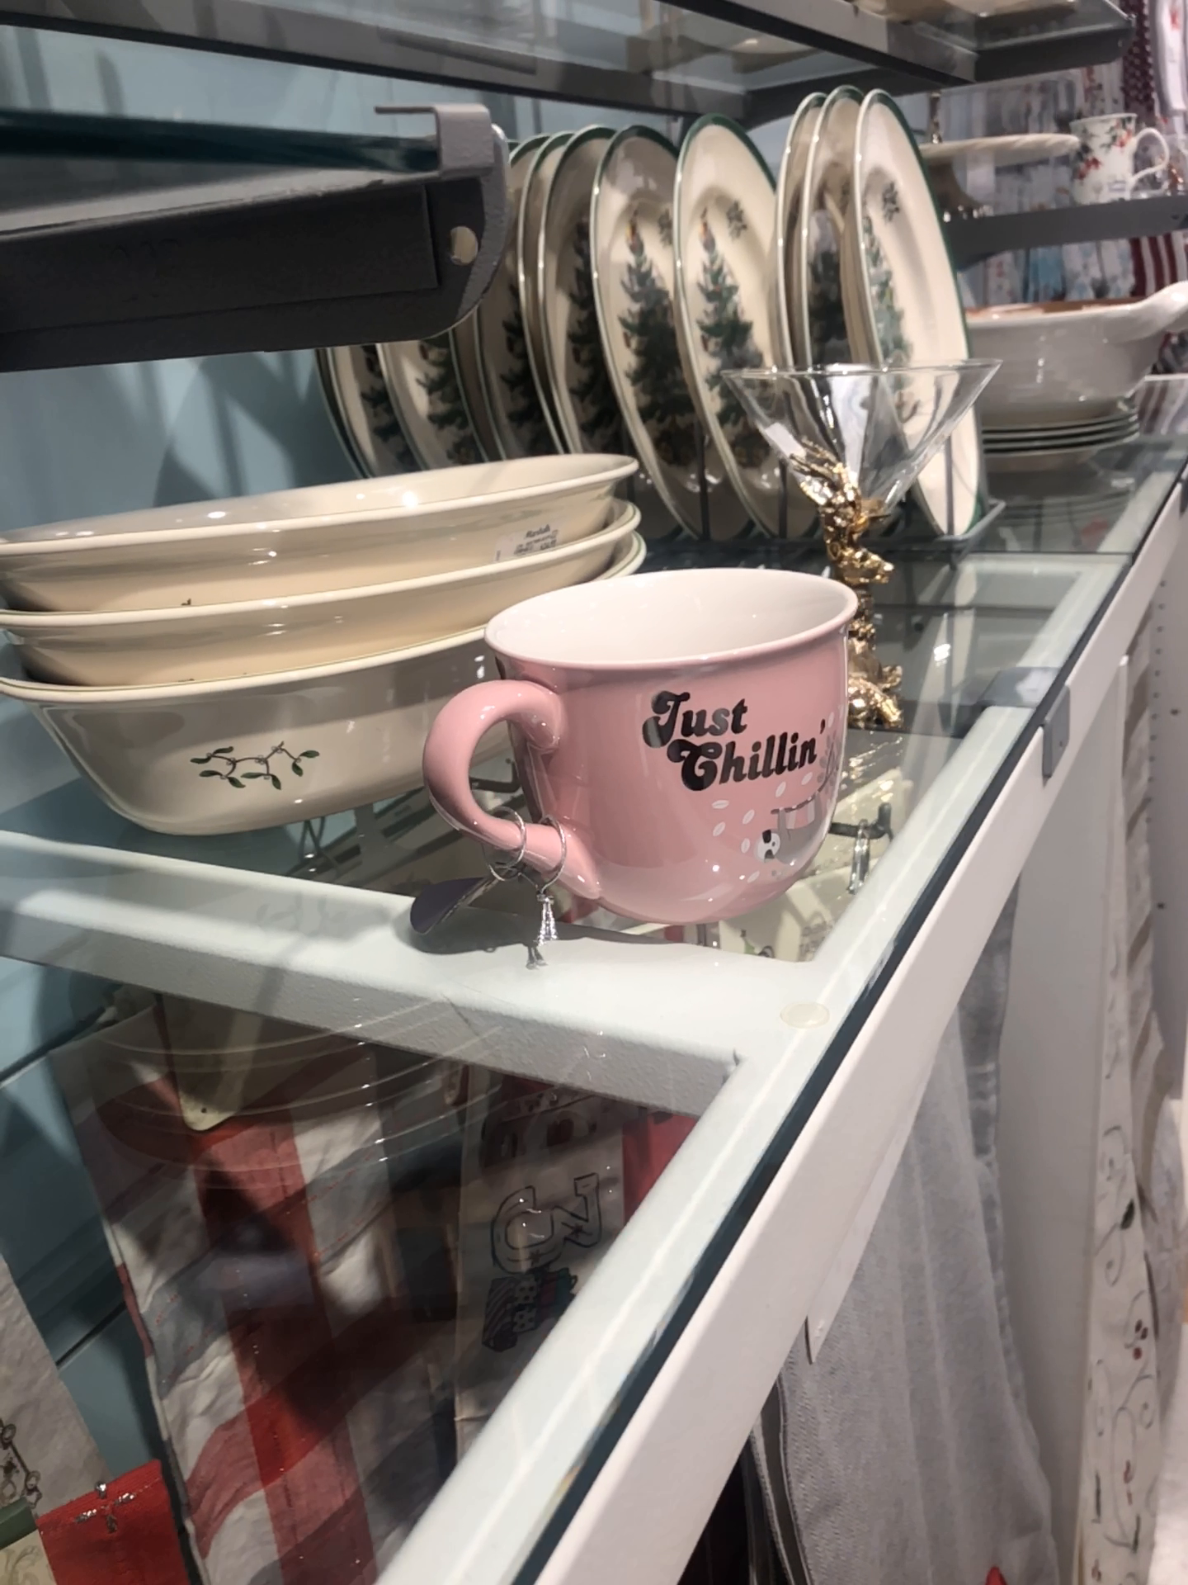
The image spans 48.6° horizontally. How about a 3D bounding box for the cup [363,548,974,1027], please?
[{"bbox_3d":[0.025,-0.014,0.390,0.136,0.085,0.112,-22,27,-39],"label":"cup"}]
